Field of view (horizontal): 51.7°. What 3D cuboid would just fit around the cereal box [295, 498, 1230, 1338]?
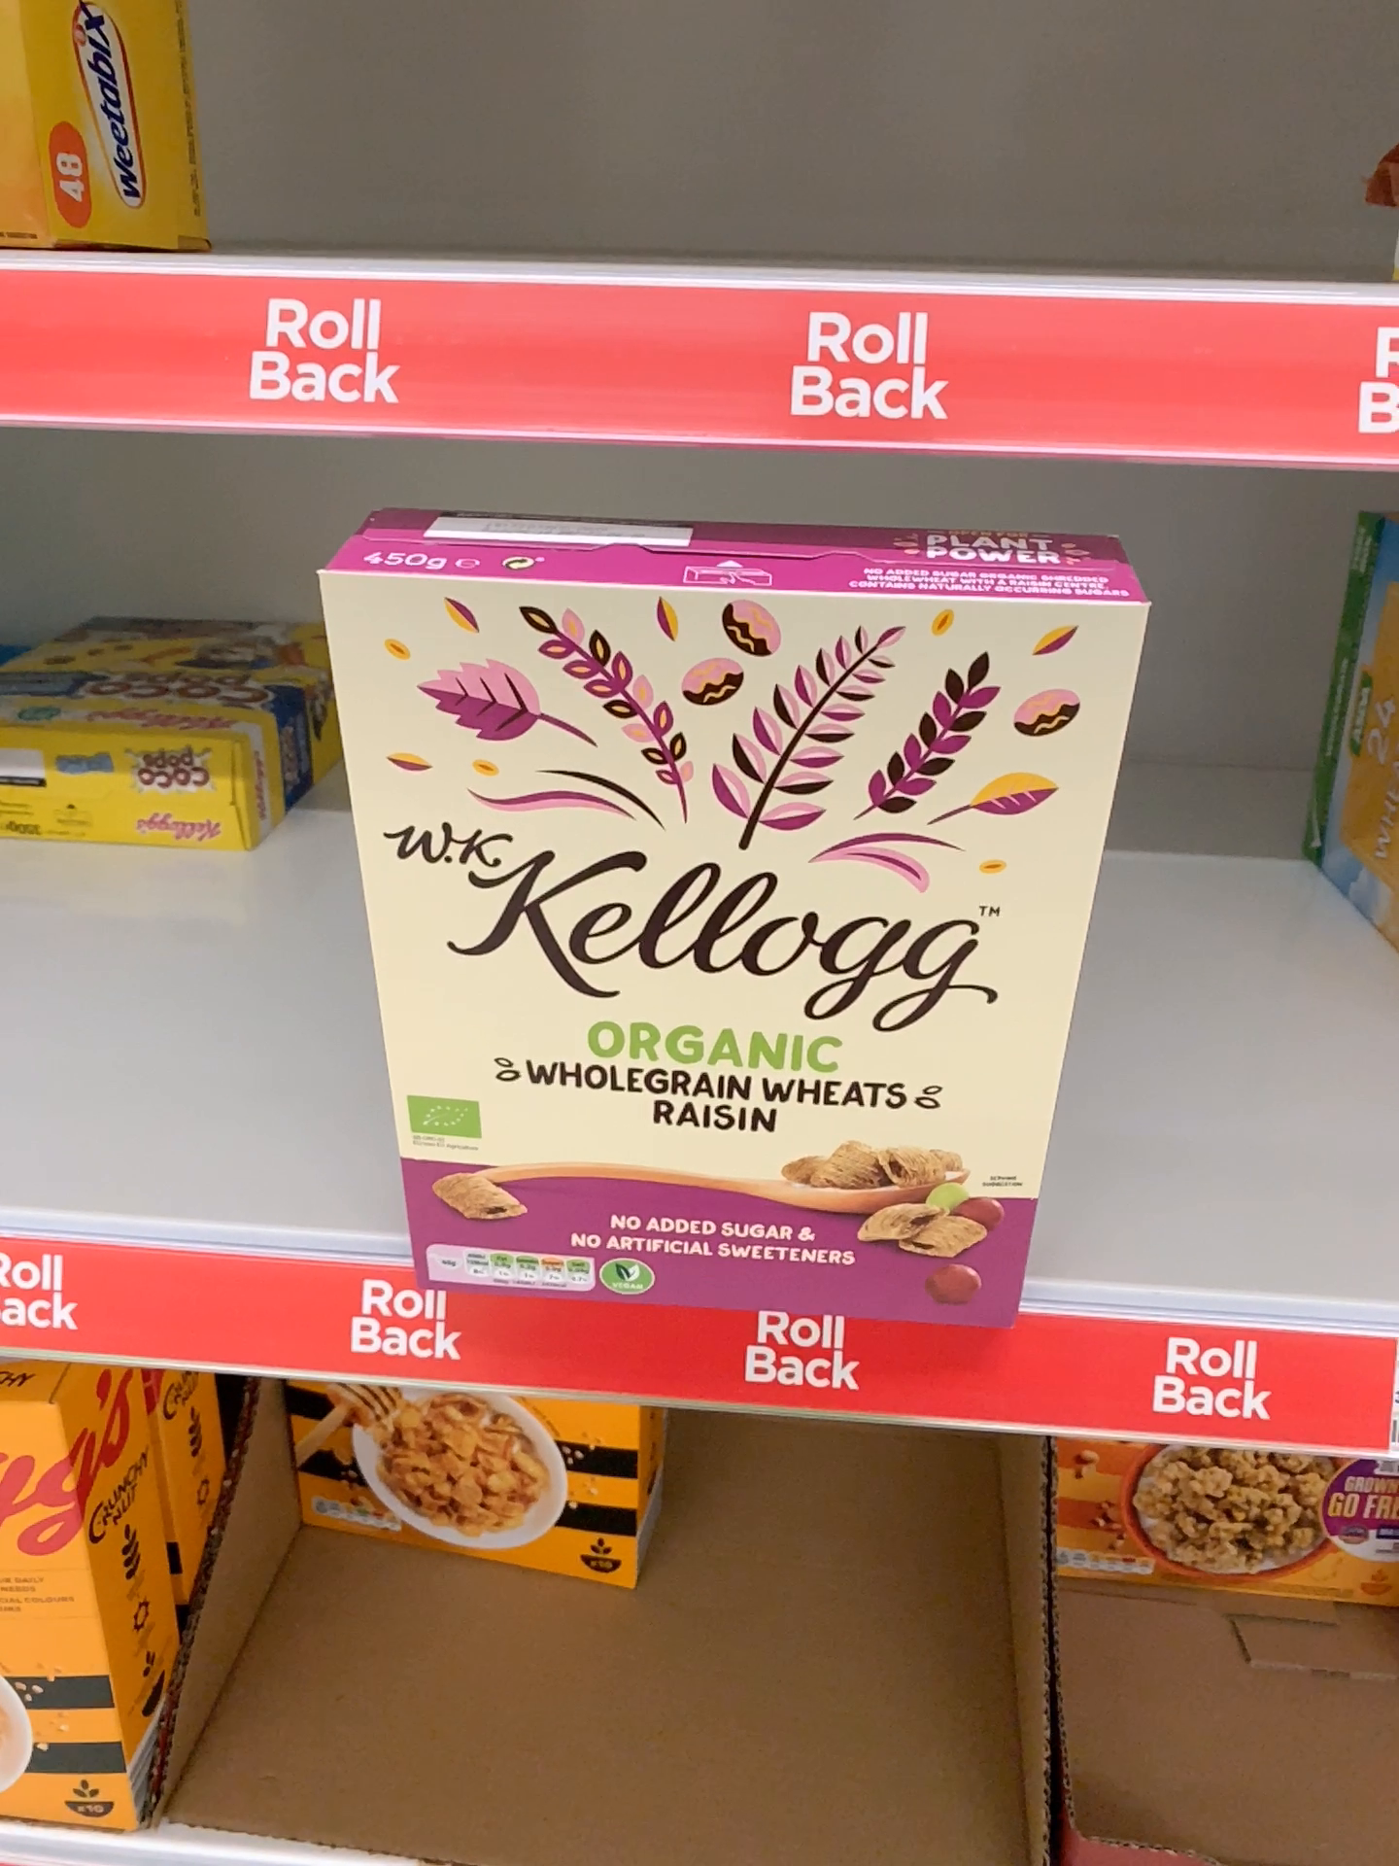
[{"bbox_3d":[0.014,0.003,0.390,0.200,0.218,0.061,2,31,4],"label":"cereal box"}]
